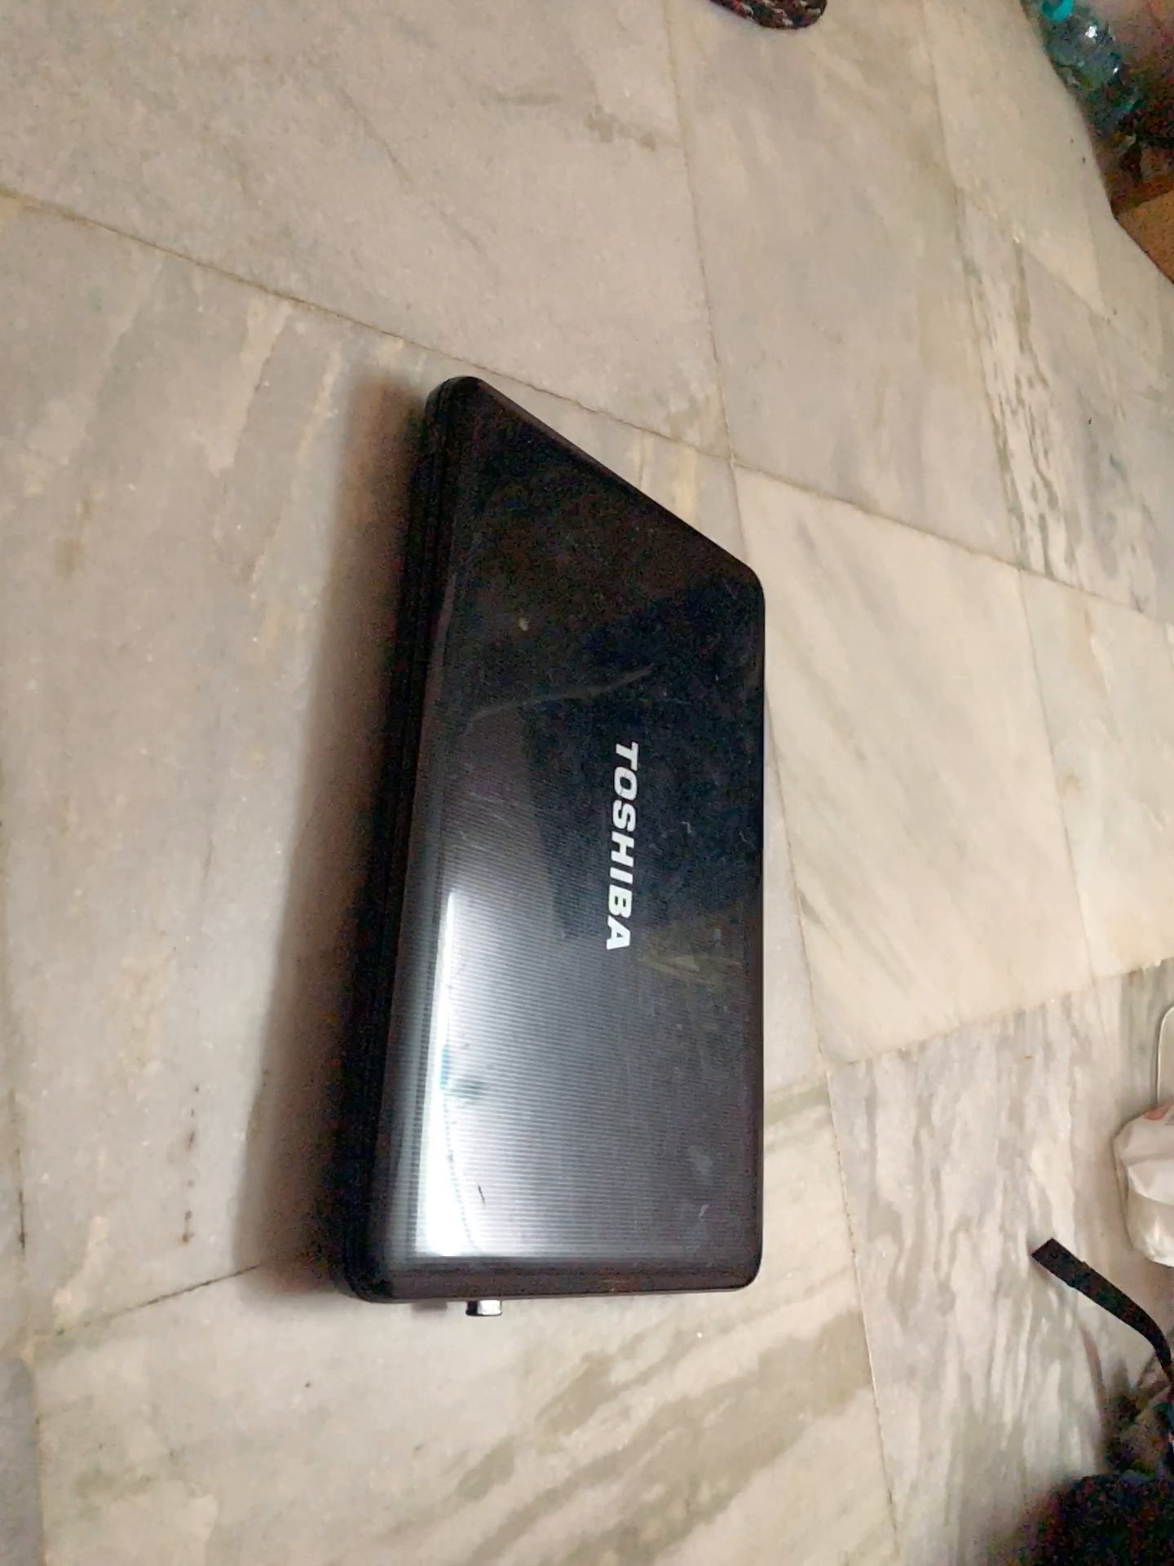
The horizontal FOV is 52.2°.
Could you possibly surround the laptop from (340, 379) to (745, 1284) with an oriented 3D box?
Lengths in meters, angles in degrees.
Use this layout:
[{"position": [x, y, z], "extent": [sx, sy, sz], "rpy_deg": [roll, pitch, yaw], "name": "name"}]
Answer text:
[{"position": [0.003, 0.028, 0.534], "extent": [0.223, 0.003, 0.355], "rpy_deg": [22, 65, -45], "name": "laptop"}]
